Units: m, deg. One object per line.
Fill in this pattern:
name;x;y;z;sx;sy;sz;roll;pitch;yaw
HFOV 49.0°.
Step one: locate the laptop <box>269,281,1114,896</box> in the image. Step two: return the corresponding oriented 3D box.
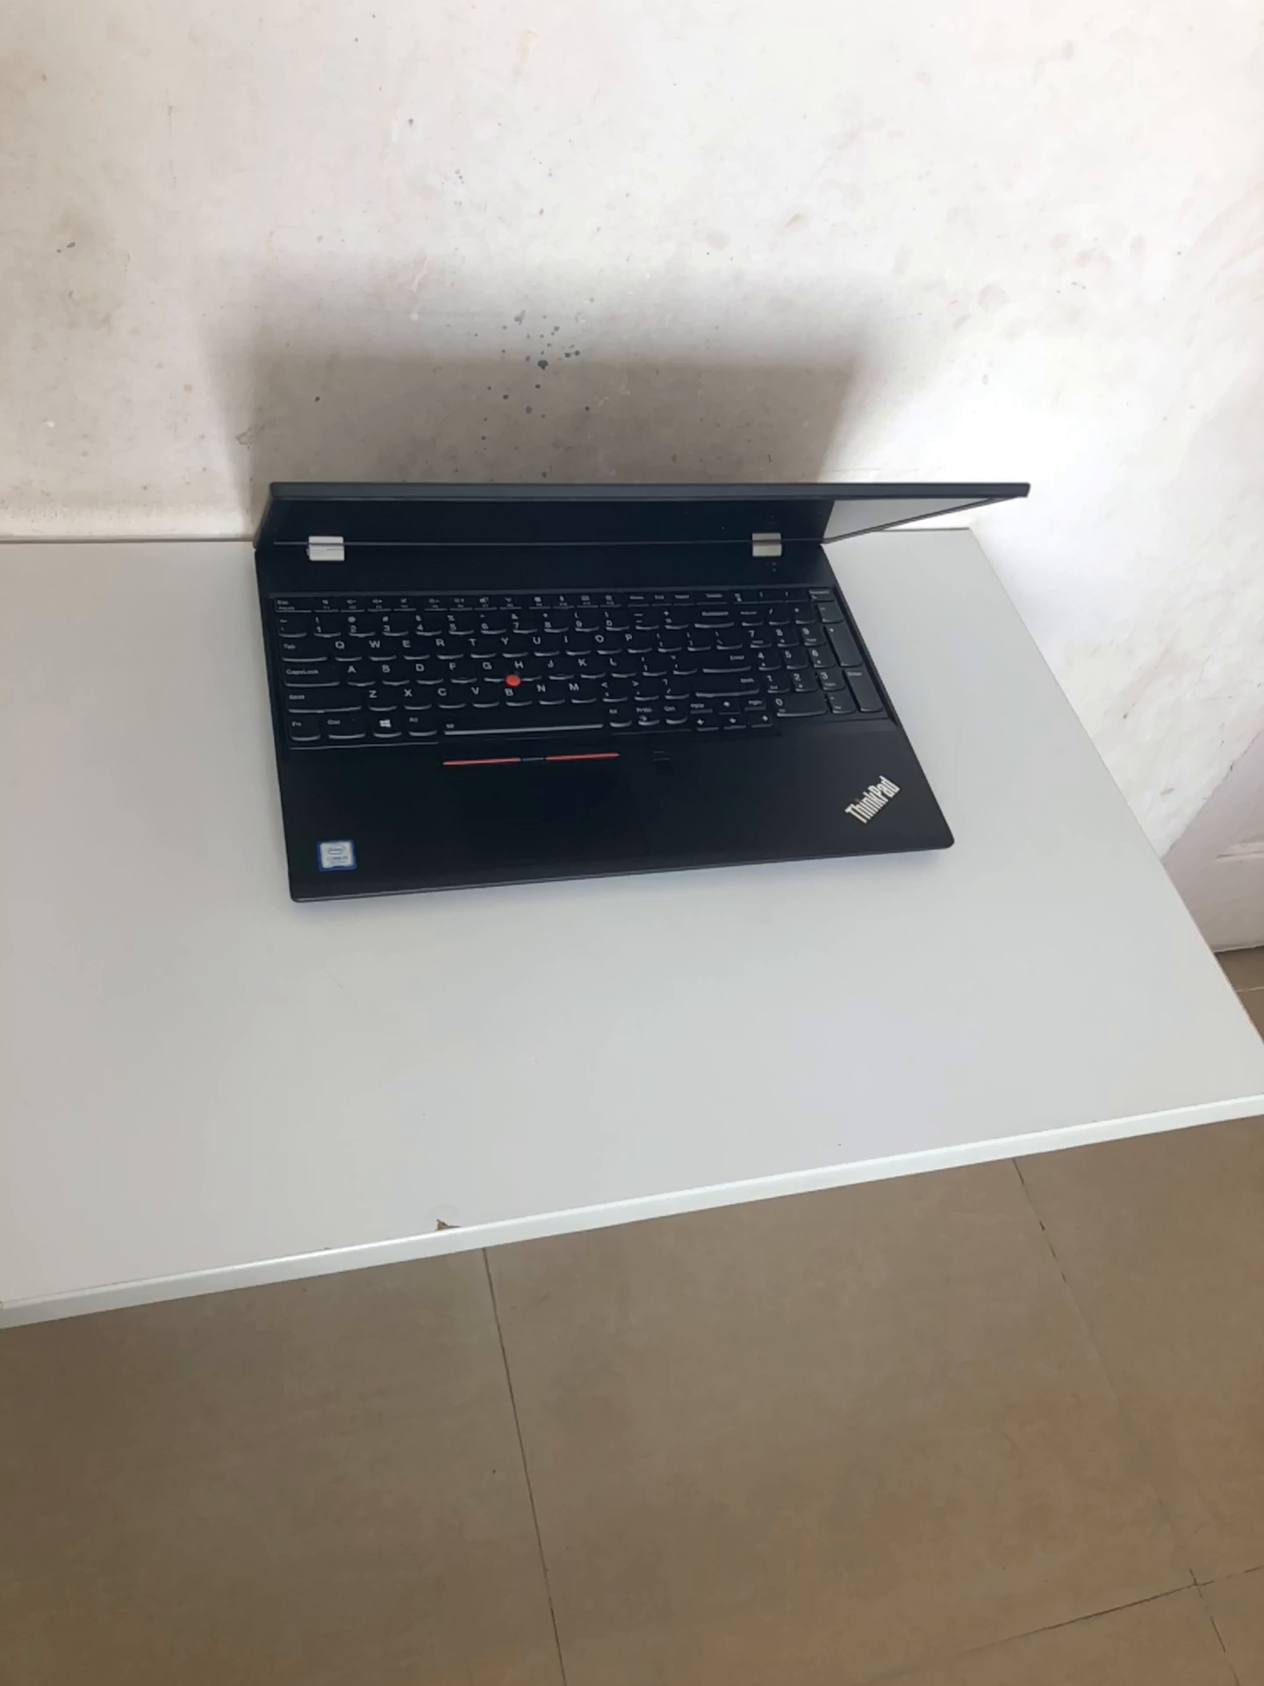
laptop;0.006;-0.132;0.707;0.347;0.173;0.235;-4;54;-15
